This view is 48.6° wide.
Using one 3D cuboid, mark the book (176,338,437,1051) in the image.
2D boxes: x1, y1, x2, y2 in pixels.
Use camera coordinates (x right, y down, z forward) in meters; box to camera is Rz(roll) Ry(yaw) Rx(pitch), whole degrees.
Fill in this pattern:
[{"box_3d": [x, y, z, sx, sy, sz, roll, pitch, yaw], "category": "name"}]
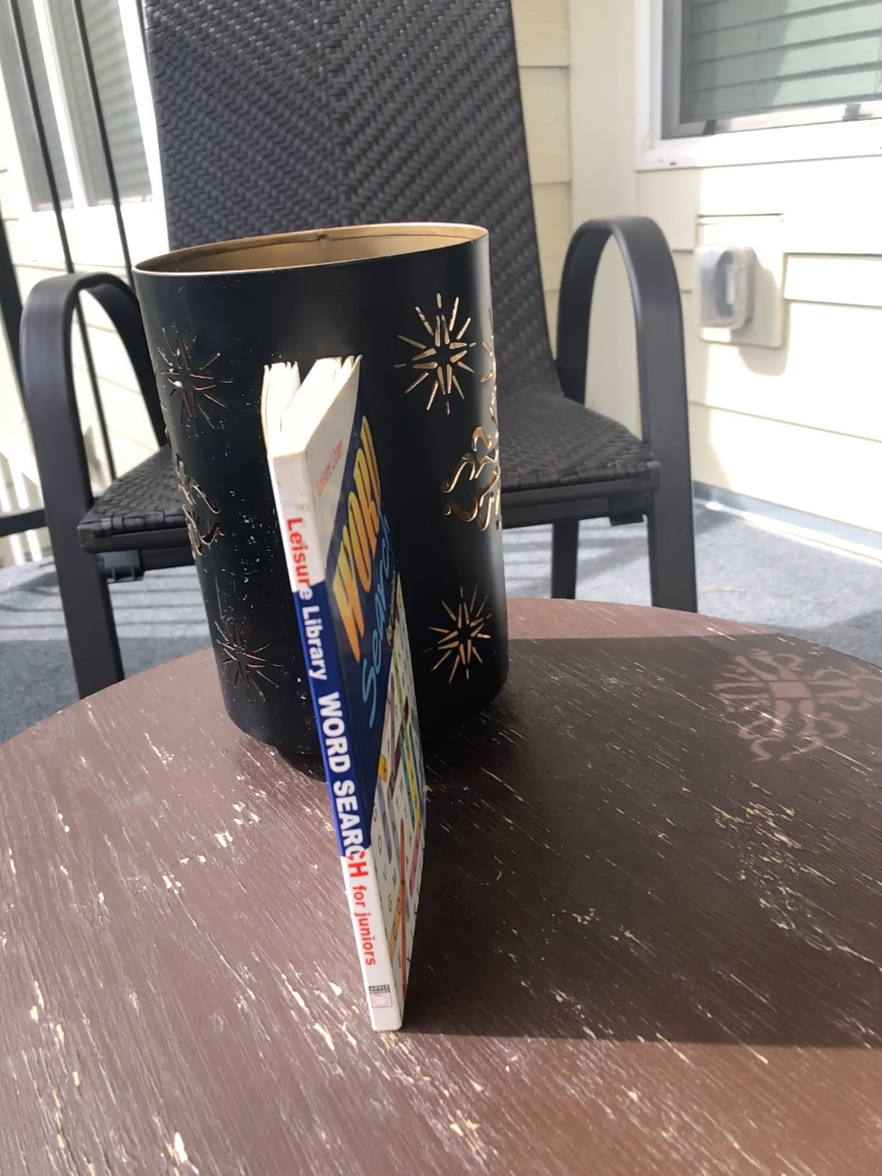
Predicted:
[{"box_3d": [-0.030, 0.024, 0.303, 0.031, 0.179, 0.125, -7, 21, 4], "category": "book"}]
